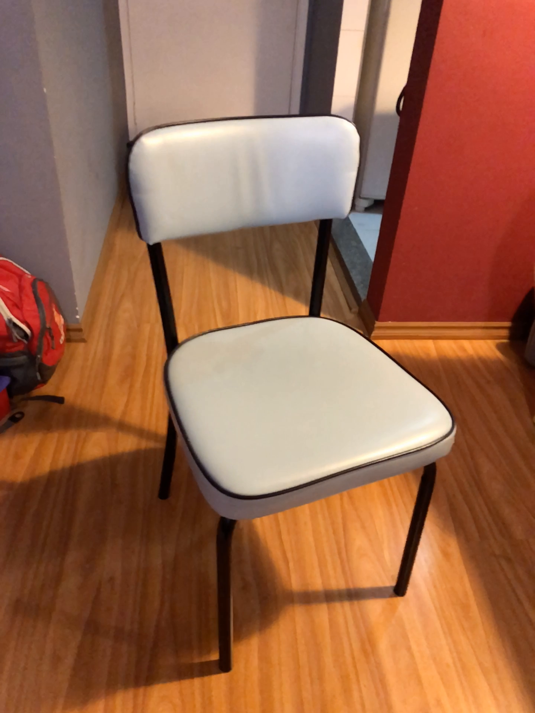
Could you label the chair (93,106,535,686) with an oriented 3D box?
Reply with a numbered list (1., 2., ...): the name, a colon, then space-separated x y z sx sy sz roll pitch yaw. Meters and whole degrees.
1. chair: 0.023 0.053 1.033 0.451 0.794 0.503 -13 39 -21
